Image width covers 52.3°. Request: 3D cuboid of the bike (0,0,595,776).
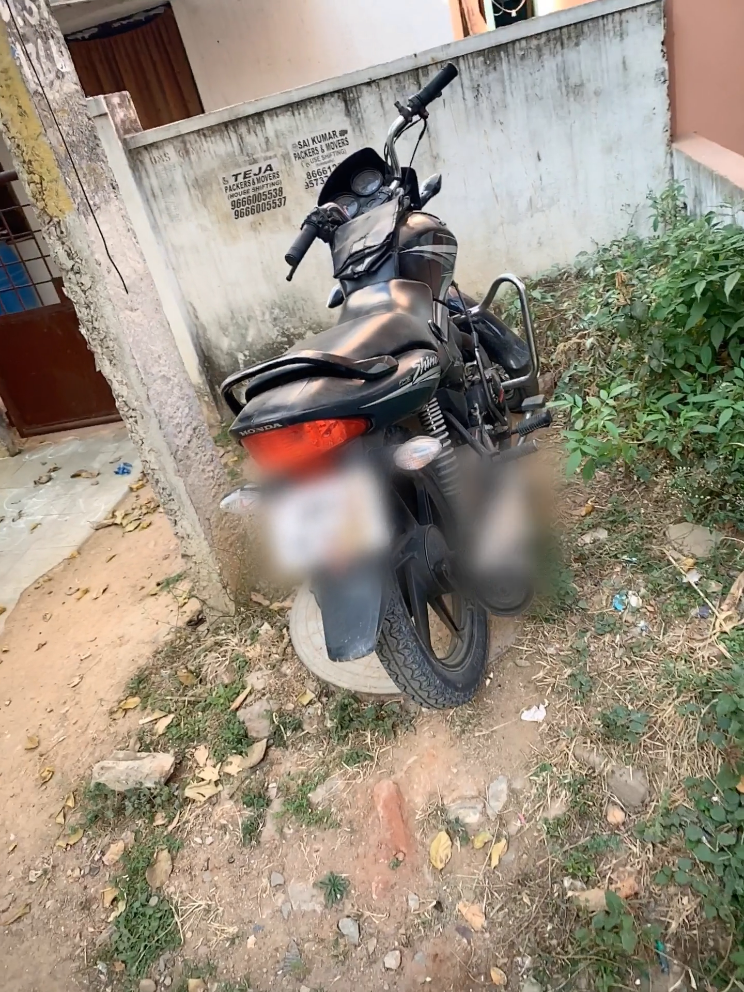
[{"bbox_3d":[-0.033,-0.406,1.647,0.734,1.101,1.246,-8,39,13],"label":"bike"}]
